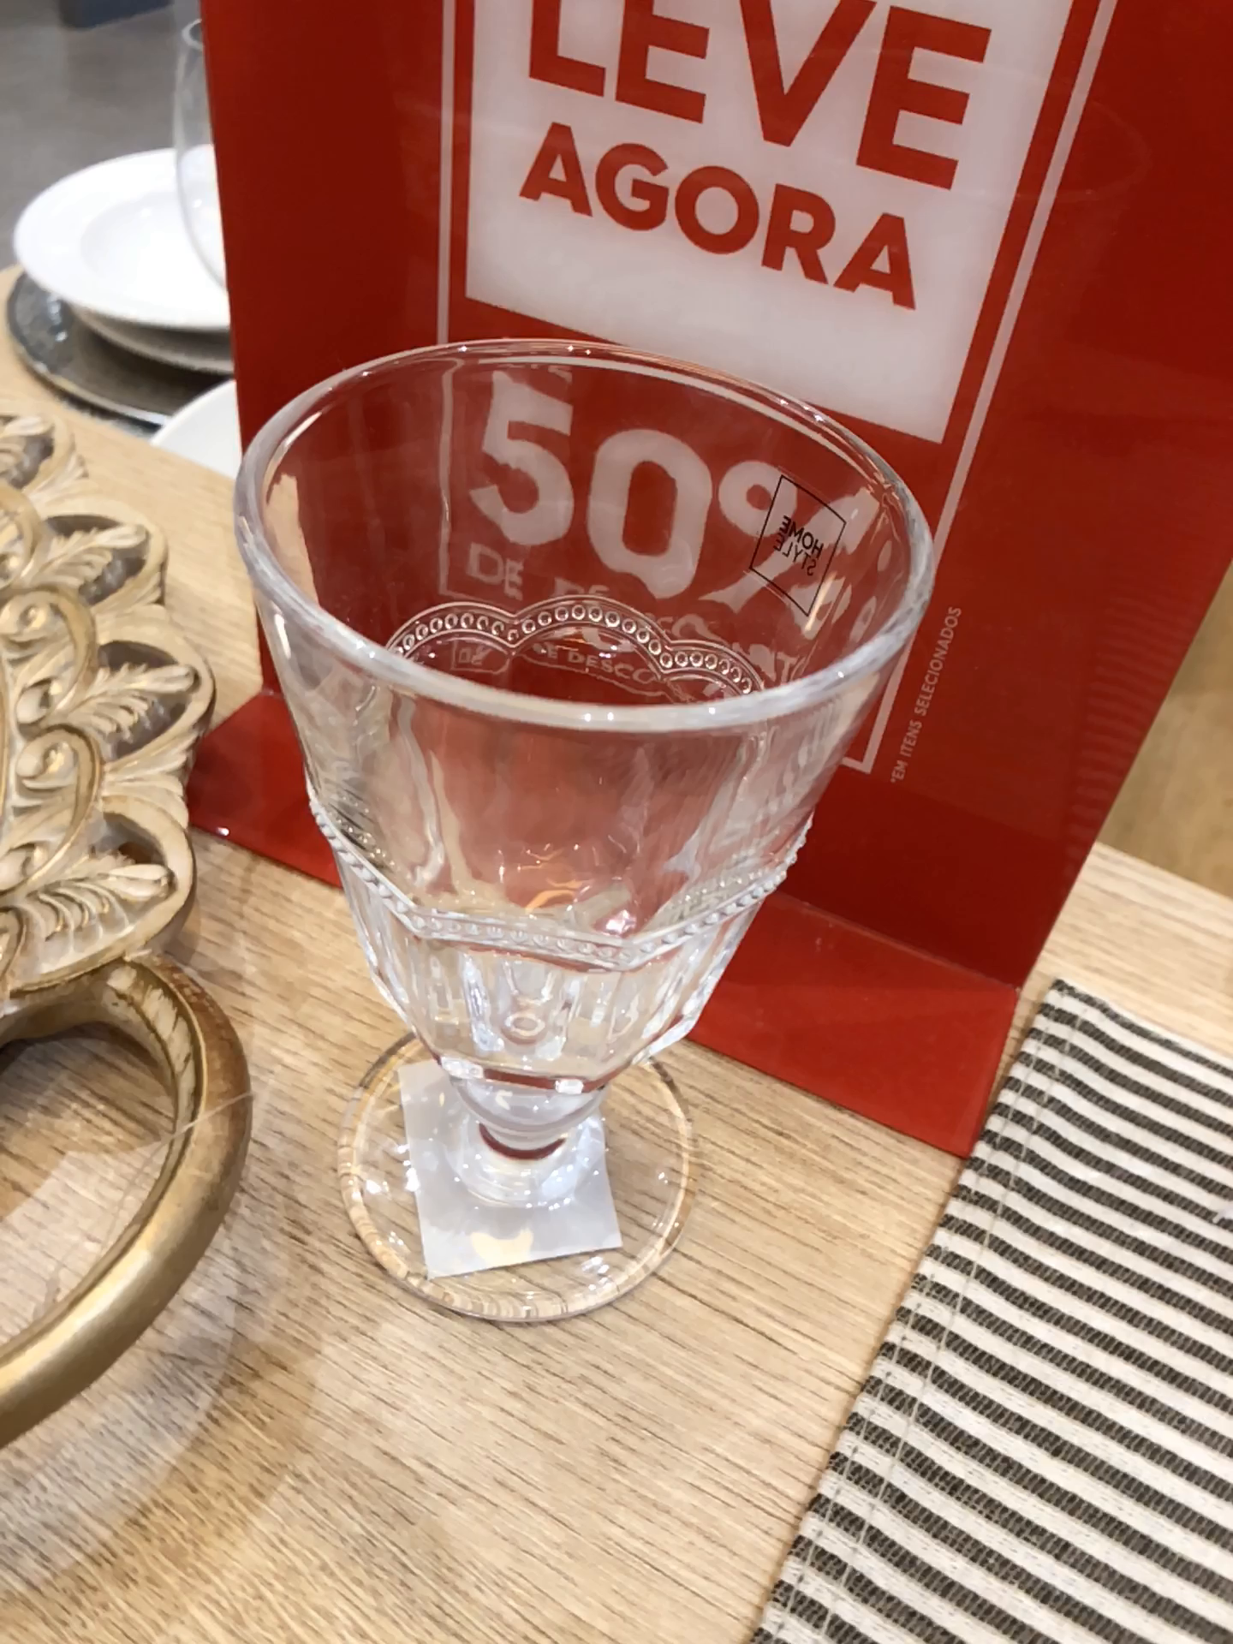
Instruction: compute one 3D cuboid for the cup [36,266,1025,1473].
[{"bbox_3d":[-0.012,0.011,0.203,0.080,0.139,0.080,4,44,-4],"label":"cup"}]
